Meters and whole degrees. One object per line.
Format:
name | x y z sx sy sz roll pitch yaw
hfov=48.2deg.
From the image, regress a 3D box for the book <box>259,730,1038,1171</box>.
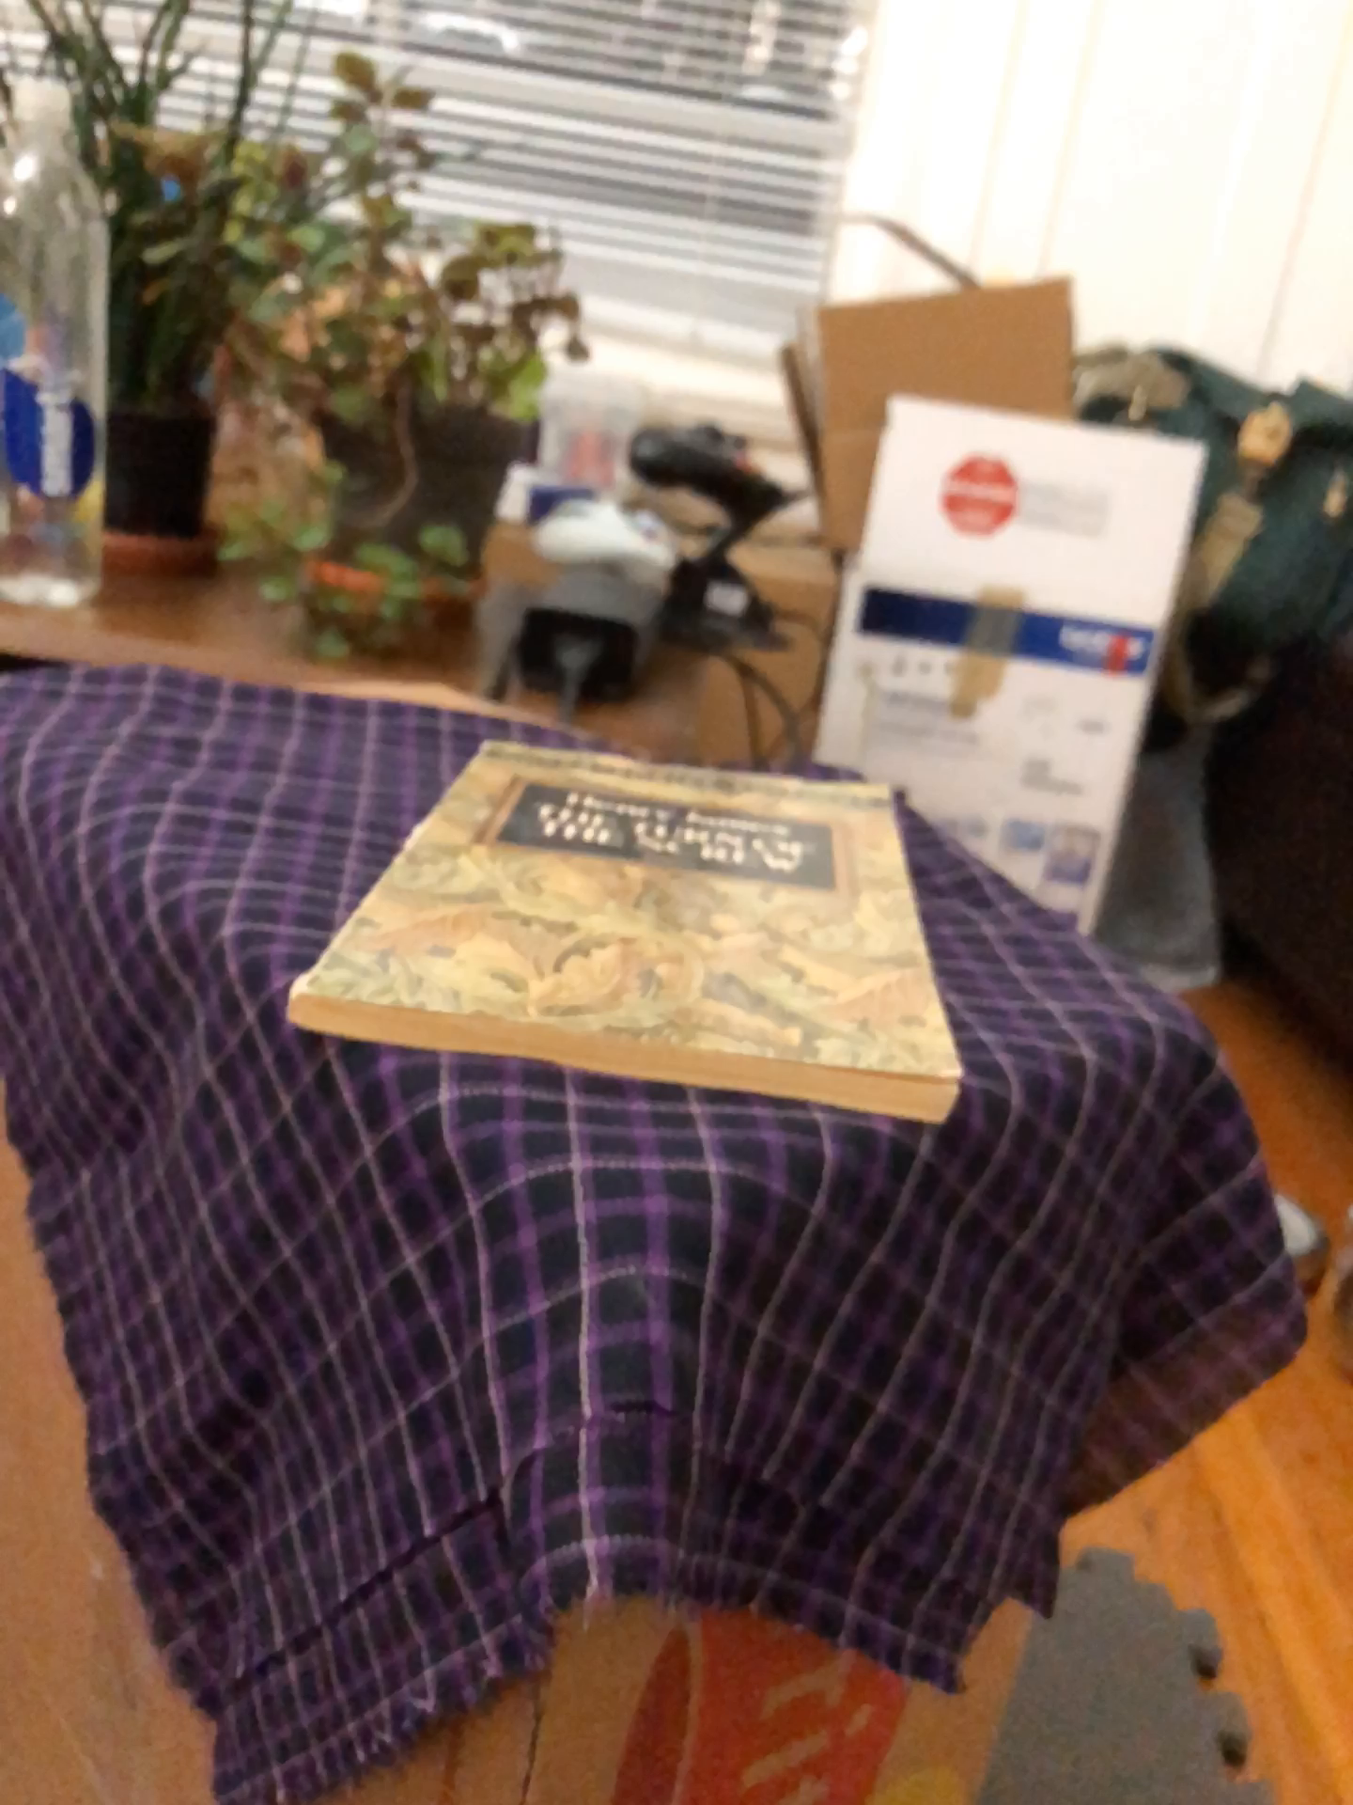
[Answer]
book | 0.001 -0.003 0.375 0.140 0.010 0.221 9 19 0
